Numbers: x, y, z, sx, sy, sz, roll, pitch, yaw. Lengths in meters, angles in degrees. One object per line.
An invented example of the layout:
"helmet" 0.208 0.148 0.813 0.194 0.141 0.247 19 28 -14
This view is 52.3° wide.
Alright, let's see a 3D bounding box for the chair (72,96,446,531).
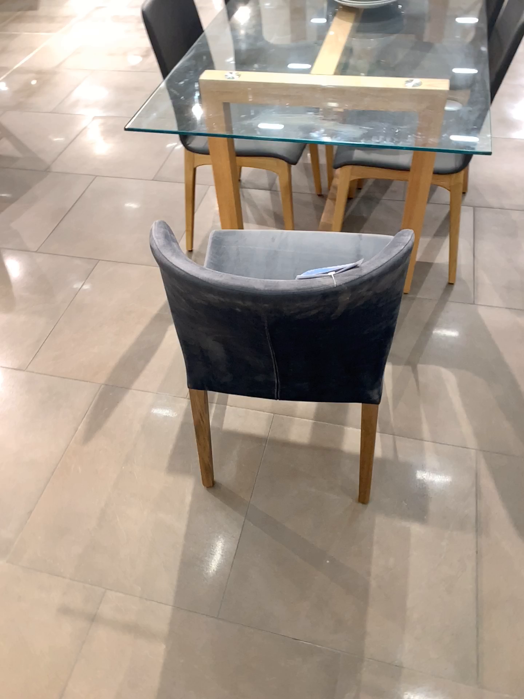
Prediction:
"chair" 0.069 -0.068 1.300 0.577 0.806 0.618 6 50 11
